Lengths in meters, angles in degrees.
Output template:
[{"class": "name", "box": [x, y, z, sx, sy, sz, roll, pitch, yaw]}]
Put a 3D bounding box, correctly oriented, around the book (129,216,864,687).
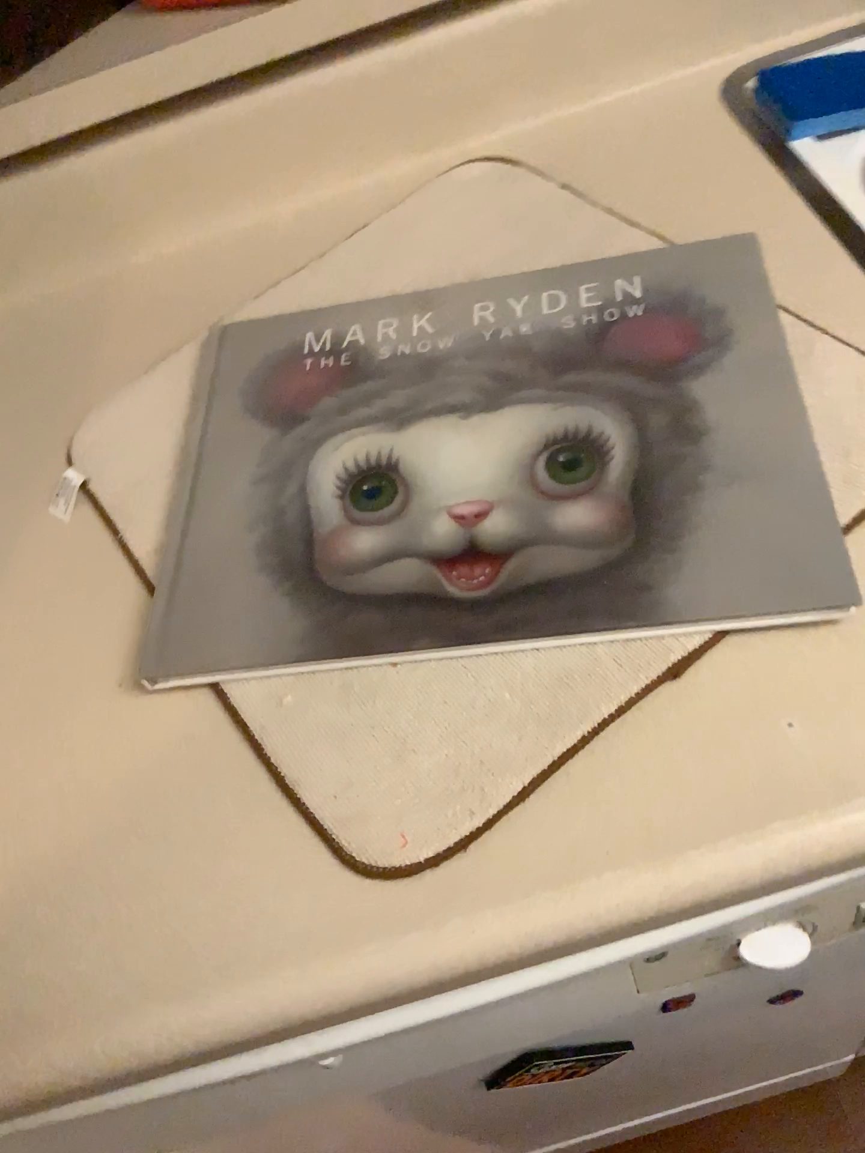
[{"class": "book", "box": [0.026, -0.085, 0.574, 0.380, 0.020, 0.290, -7, 54, 11]}]
